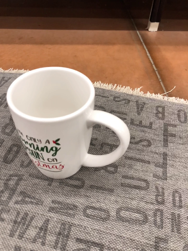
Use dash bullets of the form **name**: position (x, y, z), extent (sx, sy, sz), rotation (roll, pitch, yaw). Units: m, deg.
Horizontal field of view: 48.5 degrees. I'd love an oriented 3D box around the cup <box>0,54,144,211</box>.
- **cup**: position (-0.035, 0.004, 0.224), extent (0.140, 0.100, 0.090), rotation (16, 48, 12)
